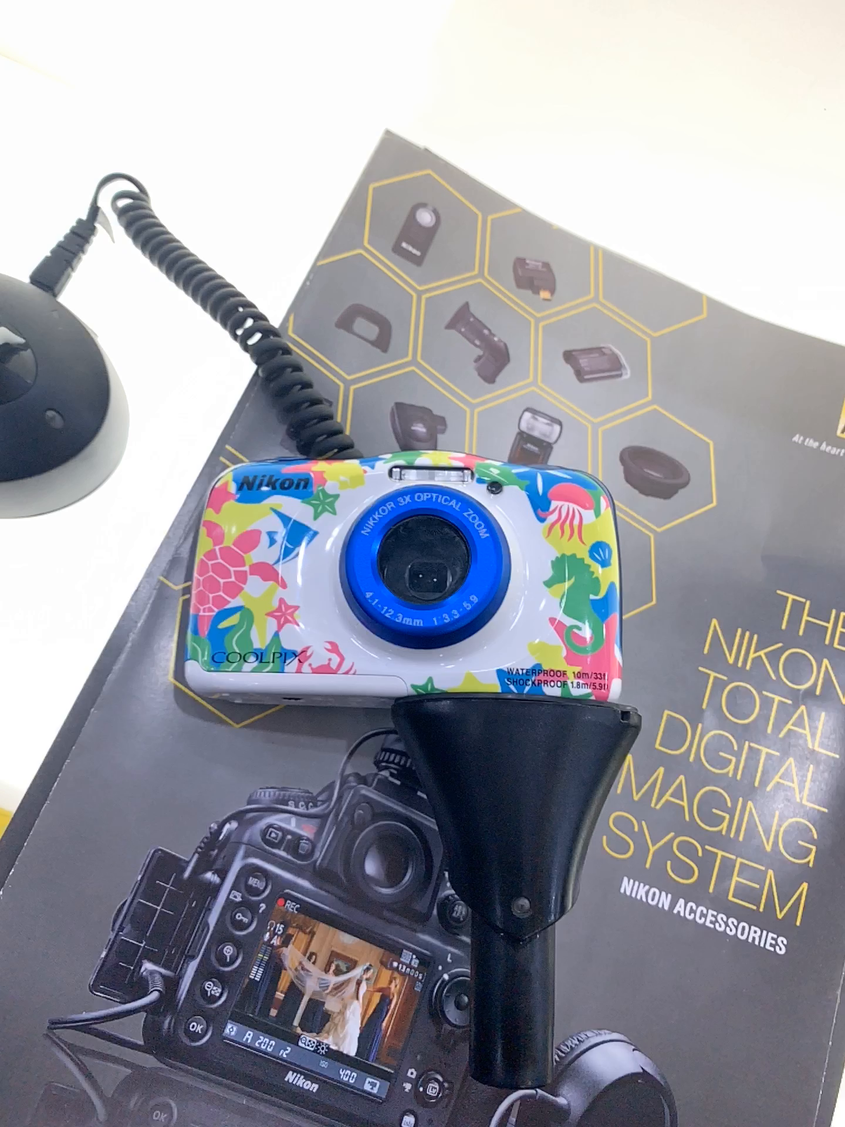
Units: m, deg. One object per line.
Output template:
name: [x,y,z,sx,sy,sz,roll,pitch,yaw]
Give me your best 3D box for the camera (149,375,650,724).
camera: [-0.004,-0.004,0.222,0.110,0.030,0.080,1,68,2]
